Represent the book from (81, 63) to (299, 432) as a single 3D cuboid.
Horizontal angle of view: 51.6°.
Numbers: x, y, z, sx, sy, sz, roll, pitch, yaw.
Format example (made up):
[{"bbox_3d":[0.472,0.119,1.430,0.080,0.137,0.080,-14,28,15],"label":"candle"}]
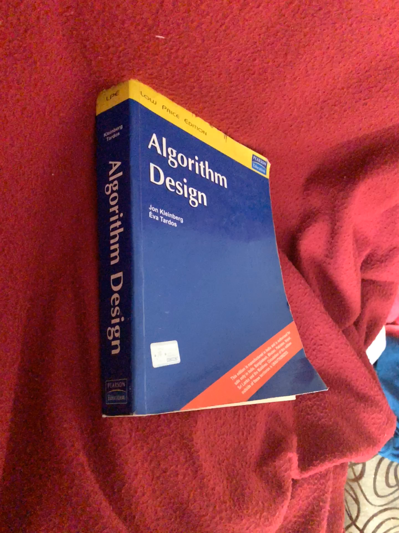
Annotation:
[{"bbox_3d":[-0.002,-0.006,0.357,0.191,0.060,0.250,14,67,-49],"label":"book"}]
